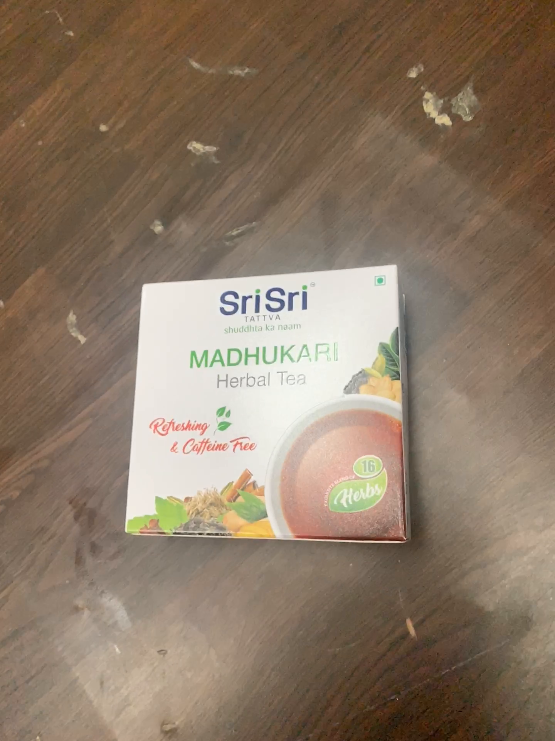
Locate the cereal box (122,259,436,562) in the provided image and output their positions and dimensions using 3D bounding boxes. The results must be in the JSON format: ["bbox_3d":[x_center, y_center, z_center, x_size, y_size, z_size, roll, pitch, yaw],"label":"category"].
[{"bbox_3d":[0.002,0.019,0.262,0.130,0.040,0.120,-2,78,14],"label":"cereal box"}]
